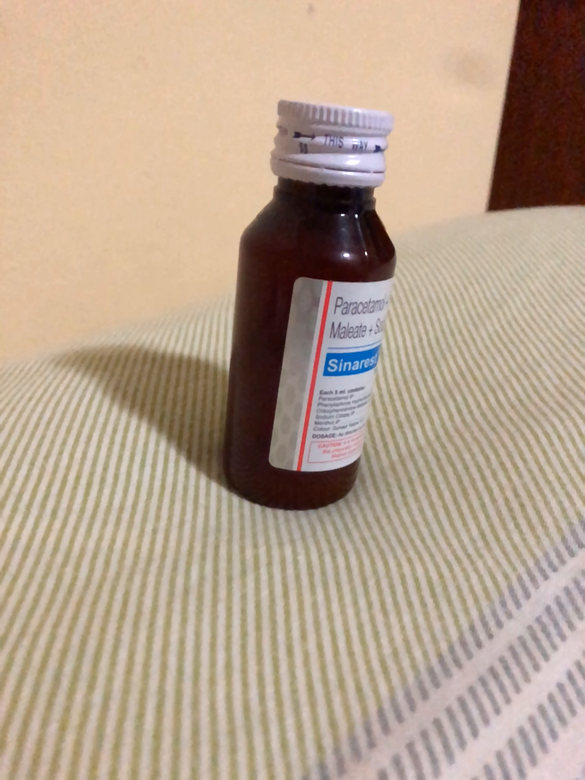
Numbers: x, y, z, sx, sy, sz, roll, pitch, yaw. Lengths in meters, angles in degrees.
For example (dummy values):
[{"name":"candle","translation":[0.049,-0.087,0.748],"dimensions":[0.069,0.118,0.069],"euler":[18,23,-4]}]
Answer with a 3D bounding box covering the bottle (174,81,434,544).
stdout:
[{"name":"bottle","translation":[0.001,-0.020,0.166],"dimensions":[0.040,0.100,0.040],"euler":[6,23,-2]}]
